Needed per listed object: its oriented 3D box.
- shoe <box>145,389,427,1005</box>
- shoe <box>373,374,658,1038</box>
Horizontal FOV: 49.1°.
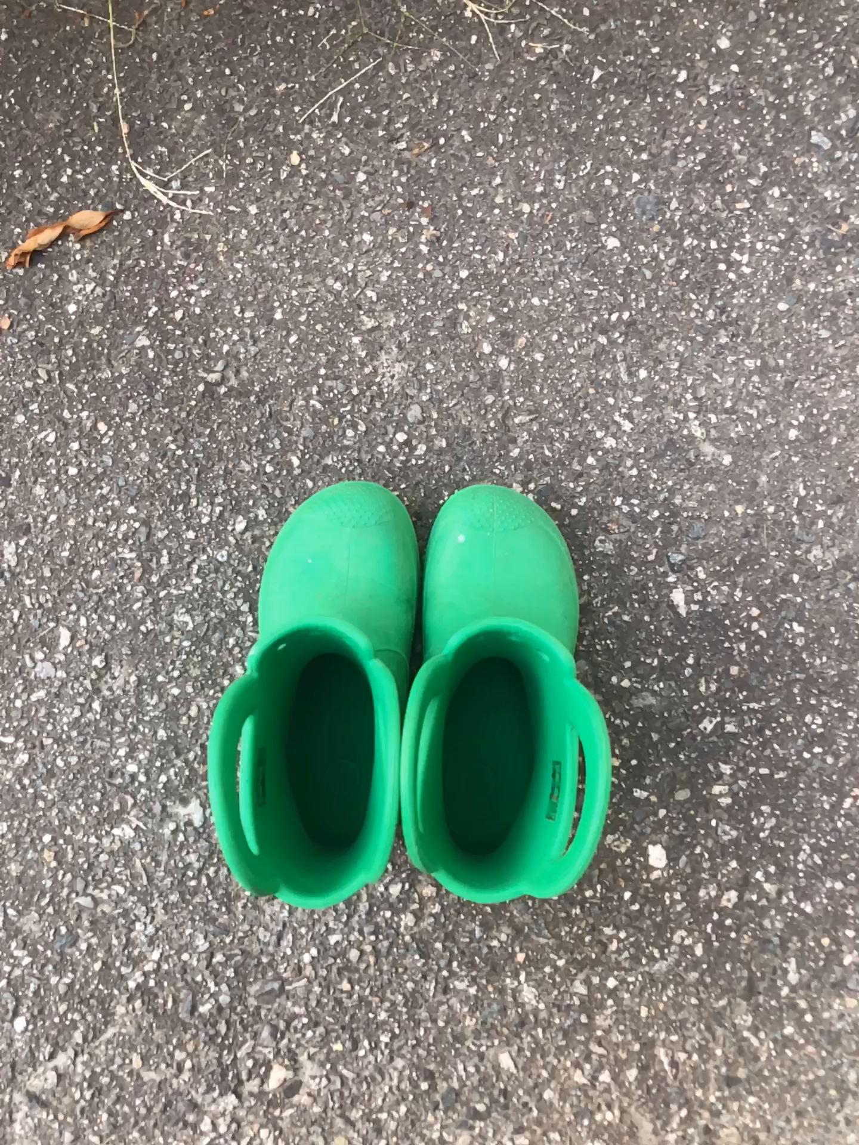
[{"bbox_3d":[-0.058,0.054,0.501,0.110,0.230,0.250,1,88,0],"label":"shoe"},{"bbox_3d":[0.035,0.056,0.502,0.110,0.260,0.260,1,88,0],"label":"shoe"}]
